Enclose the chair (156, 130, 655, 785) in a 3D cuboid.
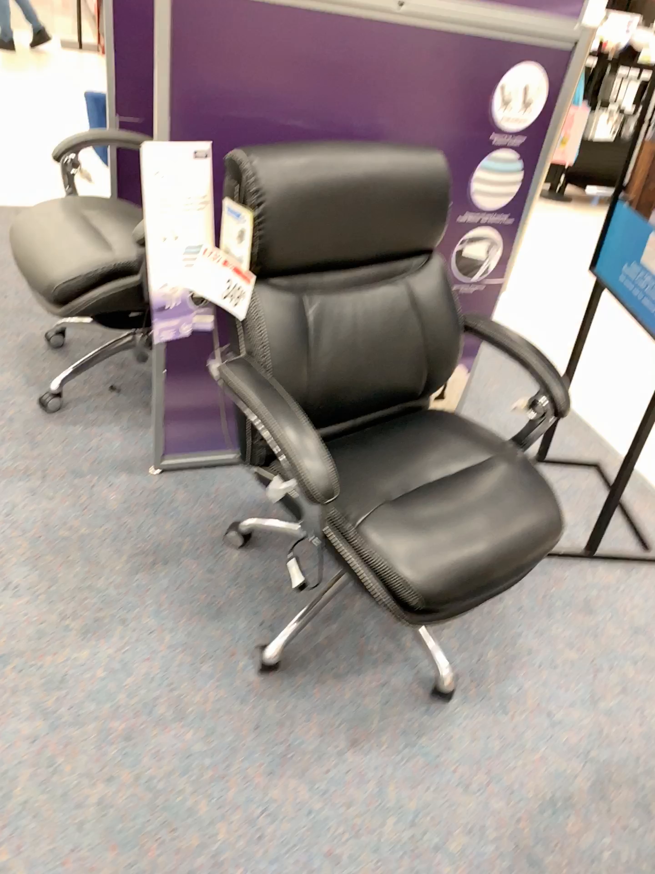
[{"bbox_3d":[0.149,-0.028,1.419,0.740,0.946,0.784,-15,44,-32],"label":"chair"}]
